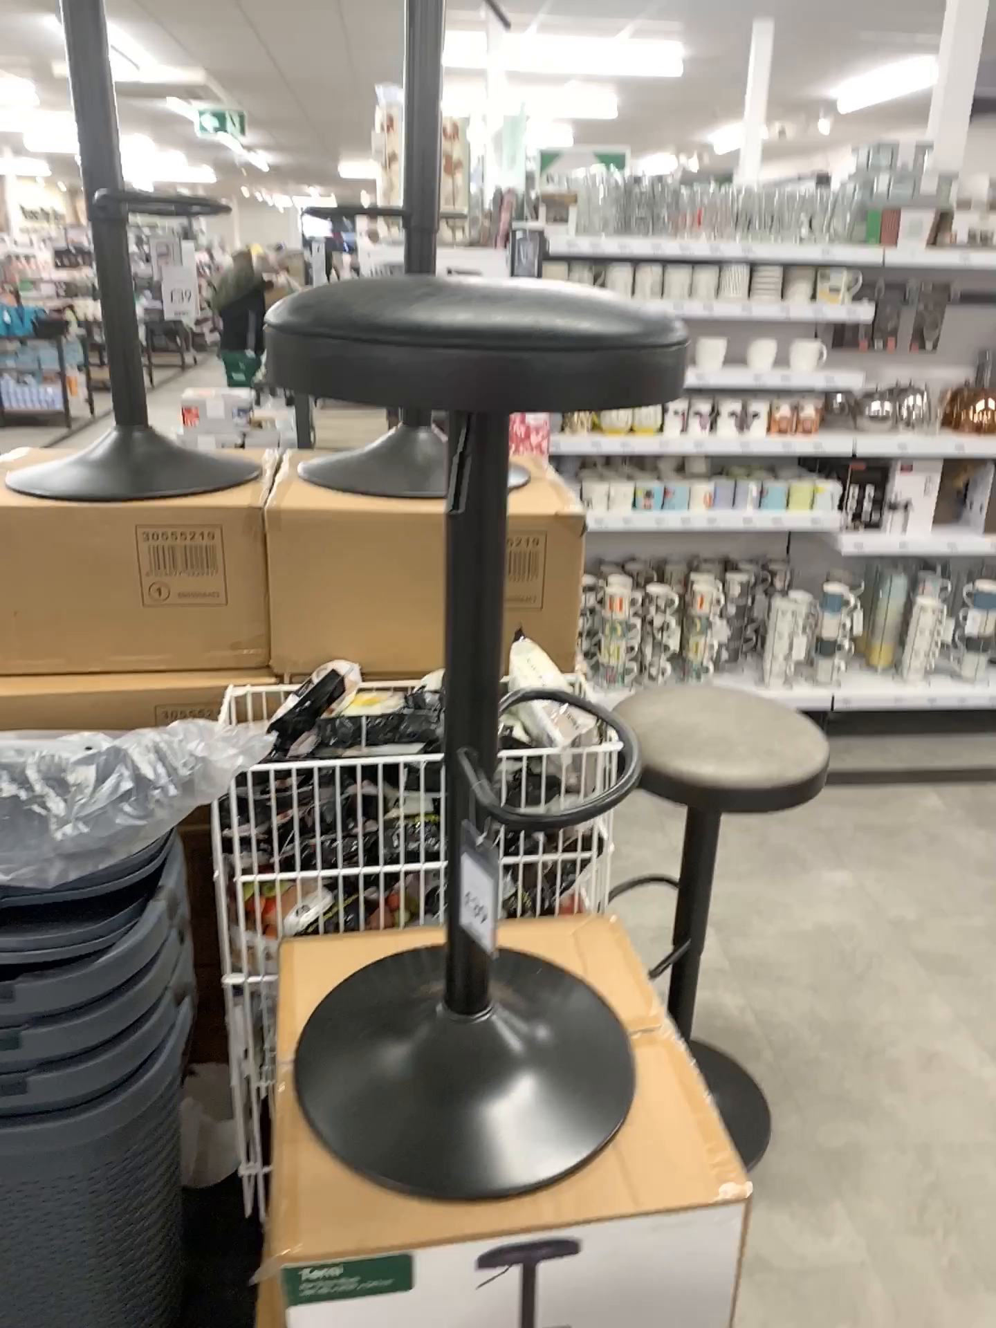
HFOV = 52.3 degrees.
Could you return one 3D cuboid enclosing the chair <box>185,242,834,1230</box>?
[{"bbox_3d":[-0.020,0.043,0.953,0.407,0.795,0.399,-1,21,-7],"label":"chair"}]
